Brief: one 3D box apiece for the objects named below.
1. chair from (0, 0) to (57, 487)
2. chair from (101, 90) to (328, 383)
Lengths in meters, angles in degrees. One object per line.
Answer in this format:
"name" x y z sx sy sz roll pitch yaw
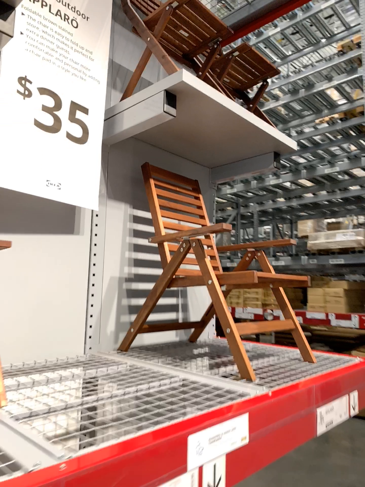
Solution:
"chair" -0.816 -0.037 1.008 0.631 0.886 0.614 -6 -10 42
"chair" 0.140 0.007 1.845 0.891 1.056 0.614 -6 -10 42
